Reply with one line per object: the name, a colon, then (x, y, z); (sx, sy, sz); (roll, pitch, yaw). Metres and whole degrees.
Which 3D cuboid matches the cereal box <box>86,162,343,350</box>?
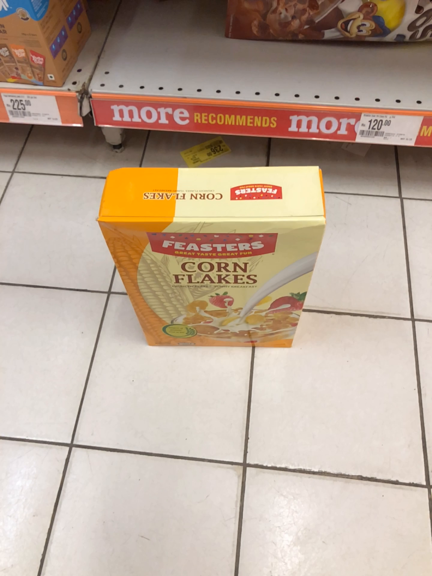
cereal box: (0.004, -0.013, 0.476); (0.190, 0.249, 0.060); (0, 61, 3)
